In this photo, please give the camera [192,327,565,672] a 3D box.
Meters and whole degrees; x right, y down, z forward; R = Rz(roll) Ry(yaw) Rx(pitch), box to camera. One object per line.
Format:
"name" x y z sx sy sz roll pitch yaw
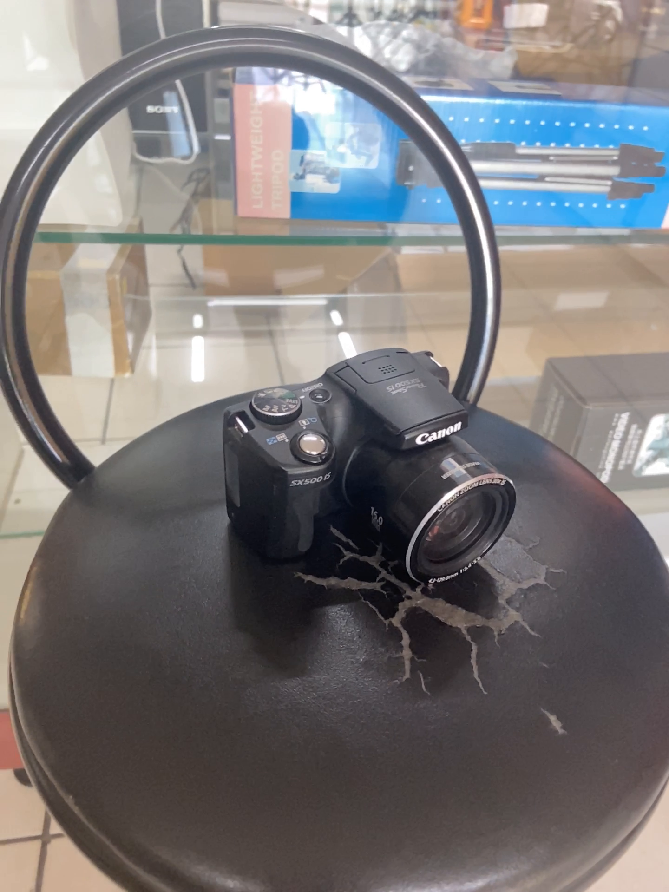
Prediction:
"camera" 0.015 0.013 0.284 0.110 0.070 0.090 -21 42 -28
